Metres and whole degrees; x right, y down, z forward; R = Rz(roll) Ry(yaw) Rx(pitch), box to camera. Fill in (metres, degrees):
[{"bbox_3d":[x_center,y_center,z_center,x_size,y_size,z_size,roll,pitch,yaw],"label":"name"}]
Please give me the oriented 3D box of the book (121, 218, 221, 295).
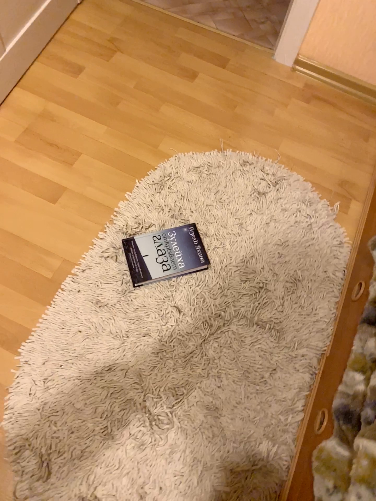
[{"bbox_3d":[-0.045,0.011,0.981,0.220,0.040,0.151,-13,67,-13],"label":"book"}]
